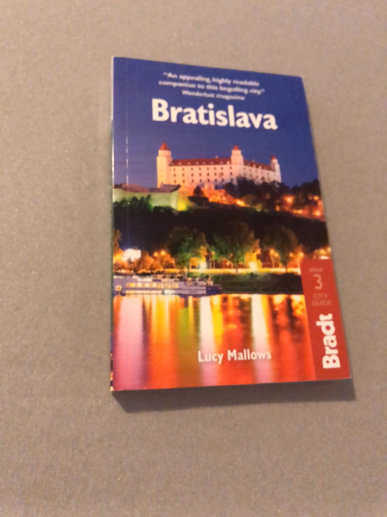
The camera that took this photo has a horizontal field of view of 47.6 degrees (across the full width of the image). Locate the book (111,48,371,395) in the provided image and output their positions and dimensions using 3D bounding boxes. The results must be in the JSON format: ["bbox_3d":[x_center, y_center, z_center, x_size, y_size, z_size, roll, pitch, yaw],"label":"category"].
[{"bbox_3d":[0.022,-0.030,0.268,0.140,0.020,0.210,0,73,-9],"label":"book"}]
